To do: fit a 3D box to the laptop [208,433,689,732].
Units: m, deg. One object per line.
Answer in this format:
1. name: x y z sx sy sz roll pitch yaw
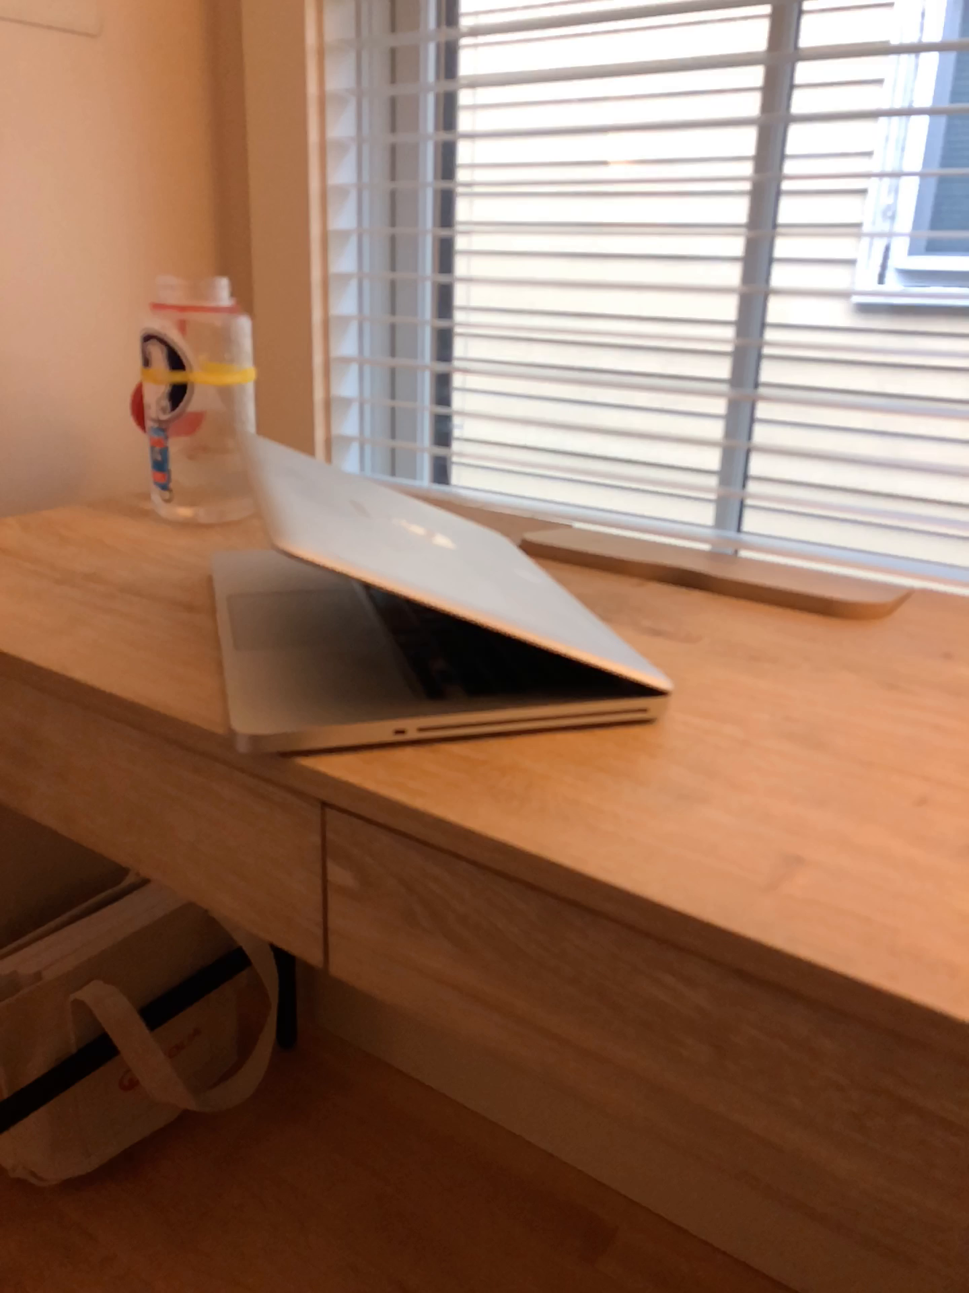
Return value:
1. laptop: -0.050 -0.062 0.649 0.228 0.089 0.320 -3 20 -15
